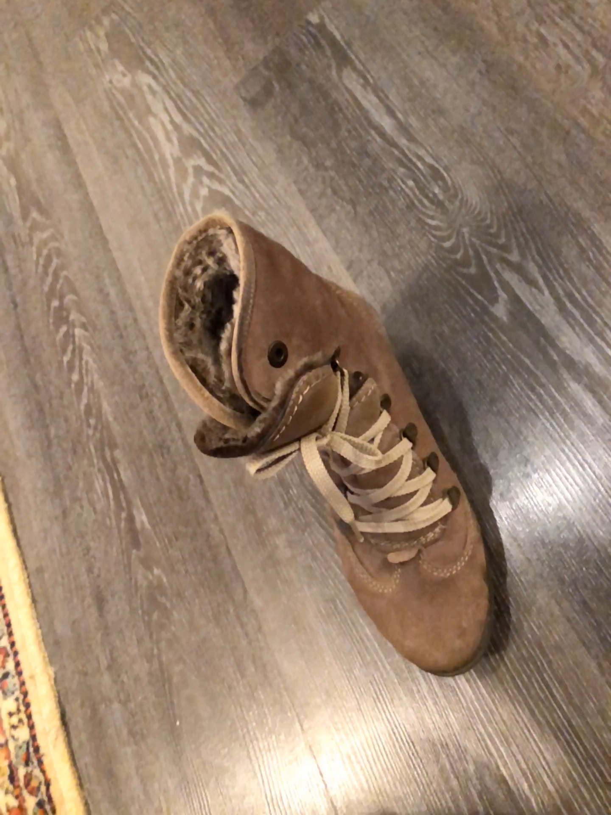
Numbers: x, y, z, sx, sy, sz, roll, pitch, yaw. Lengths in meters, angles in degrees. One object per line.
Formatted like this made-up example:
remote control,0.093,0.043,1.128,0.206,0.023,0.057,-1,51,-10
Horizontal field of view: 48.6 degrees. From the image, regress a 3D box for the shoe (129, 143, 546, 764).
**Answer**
shoe,0.021,0.031,0.357,0.100,0.189,0.241,-21,66,24
